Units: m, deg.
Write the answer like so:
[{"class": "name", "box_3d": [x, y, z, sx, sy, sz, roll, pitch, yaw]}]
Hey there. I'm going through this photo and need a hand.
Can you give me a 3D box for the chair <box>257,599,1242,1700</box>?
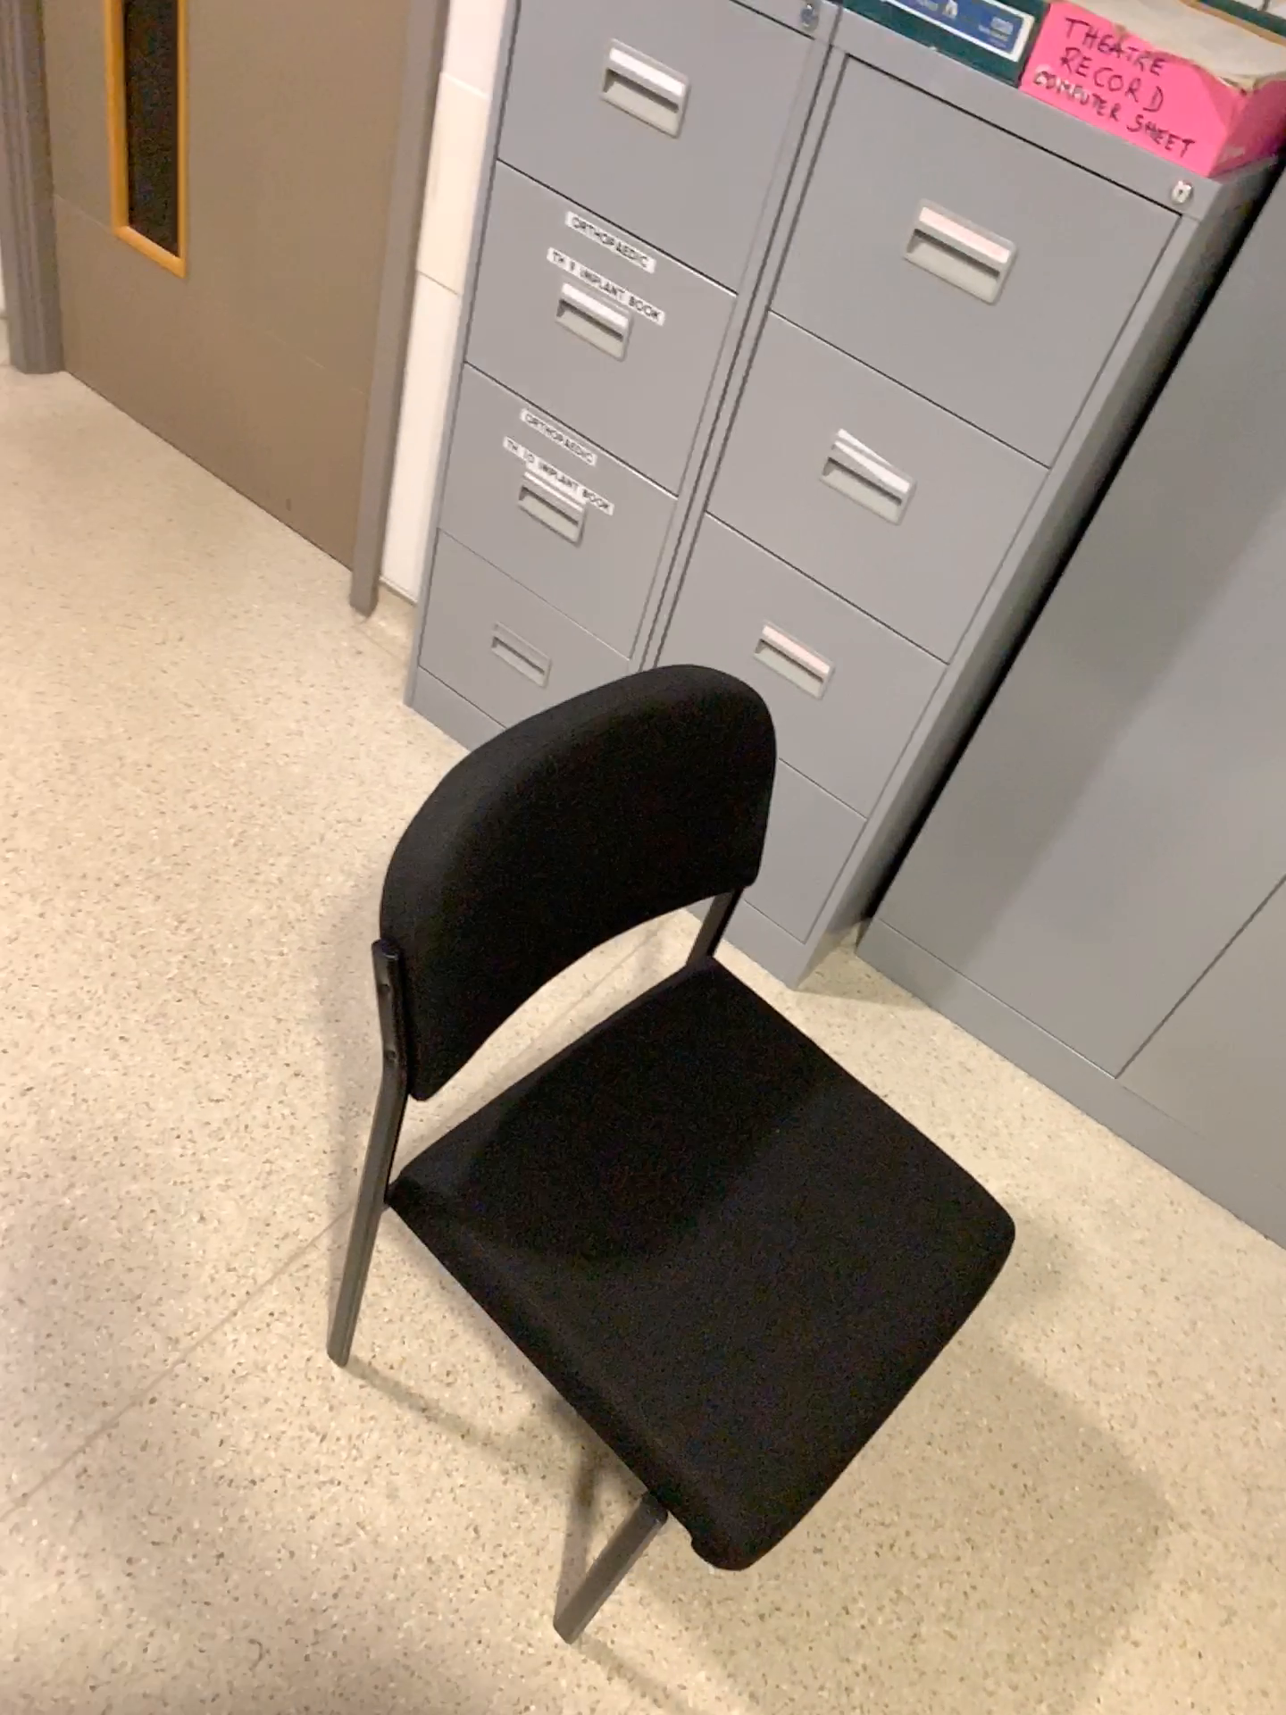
[{"class": "chair", "box_3d": [0.042, 0.306, 1.411, 0.582, 0.832, 0.634, 41, 48, 21]}]
